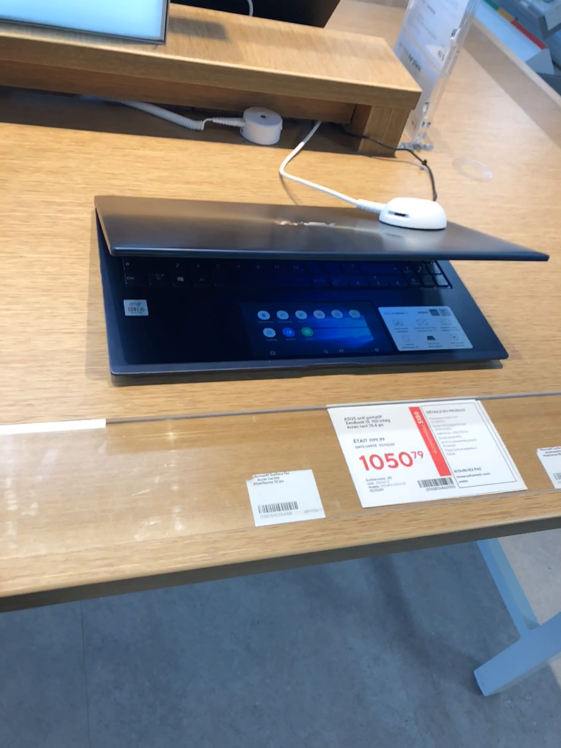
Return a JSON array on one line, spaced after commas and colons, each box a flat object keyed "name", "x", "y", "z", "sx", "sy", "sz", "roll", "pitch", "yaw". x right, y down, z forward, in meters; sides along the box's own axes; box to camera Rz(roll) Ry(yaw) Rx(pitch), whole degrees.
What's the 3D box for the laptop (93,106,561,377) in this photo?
[{"name": "laptop", "x": 0.027, "y": -0.117, "z": 0.533, "sx": 0.352, "sy": 0.098, "sz": 0.209, "roll": -3, "pitch": 49, "yaw": -20}]
